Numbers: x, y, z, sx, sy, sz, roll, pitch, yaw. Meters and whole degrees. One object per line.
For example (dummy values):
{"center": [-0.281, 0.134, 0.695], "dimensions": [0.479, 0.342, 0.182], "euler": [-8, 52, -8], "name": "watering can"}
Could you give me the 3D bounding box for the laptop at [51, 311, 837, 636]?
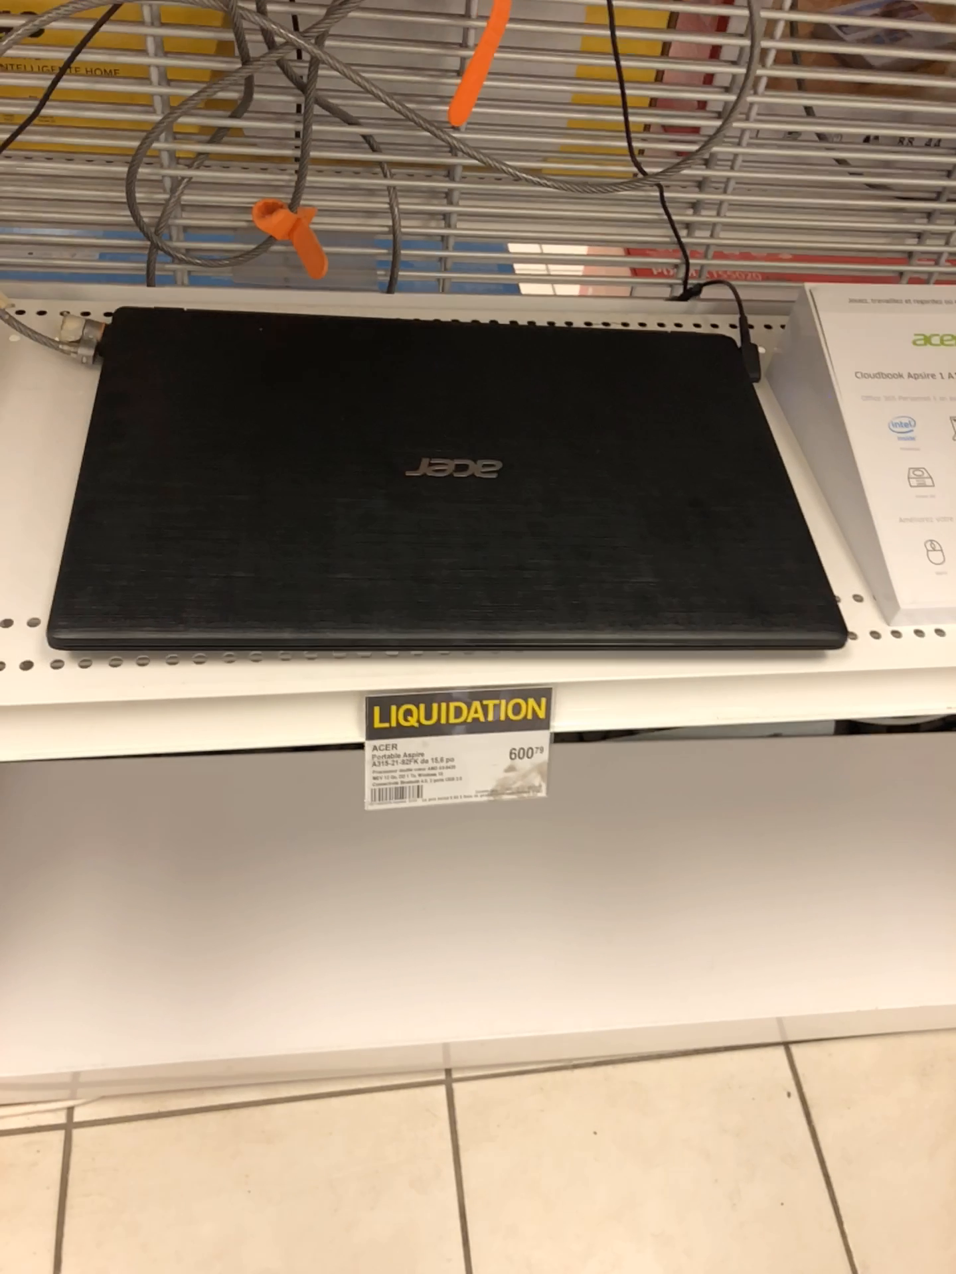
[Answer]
{"center": [-0.015, -0.098, 0.577], "dimensions": [0.374, 0.003, 0.248], "euler": [0, 50, -9], "name": "laptop"}
